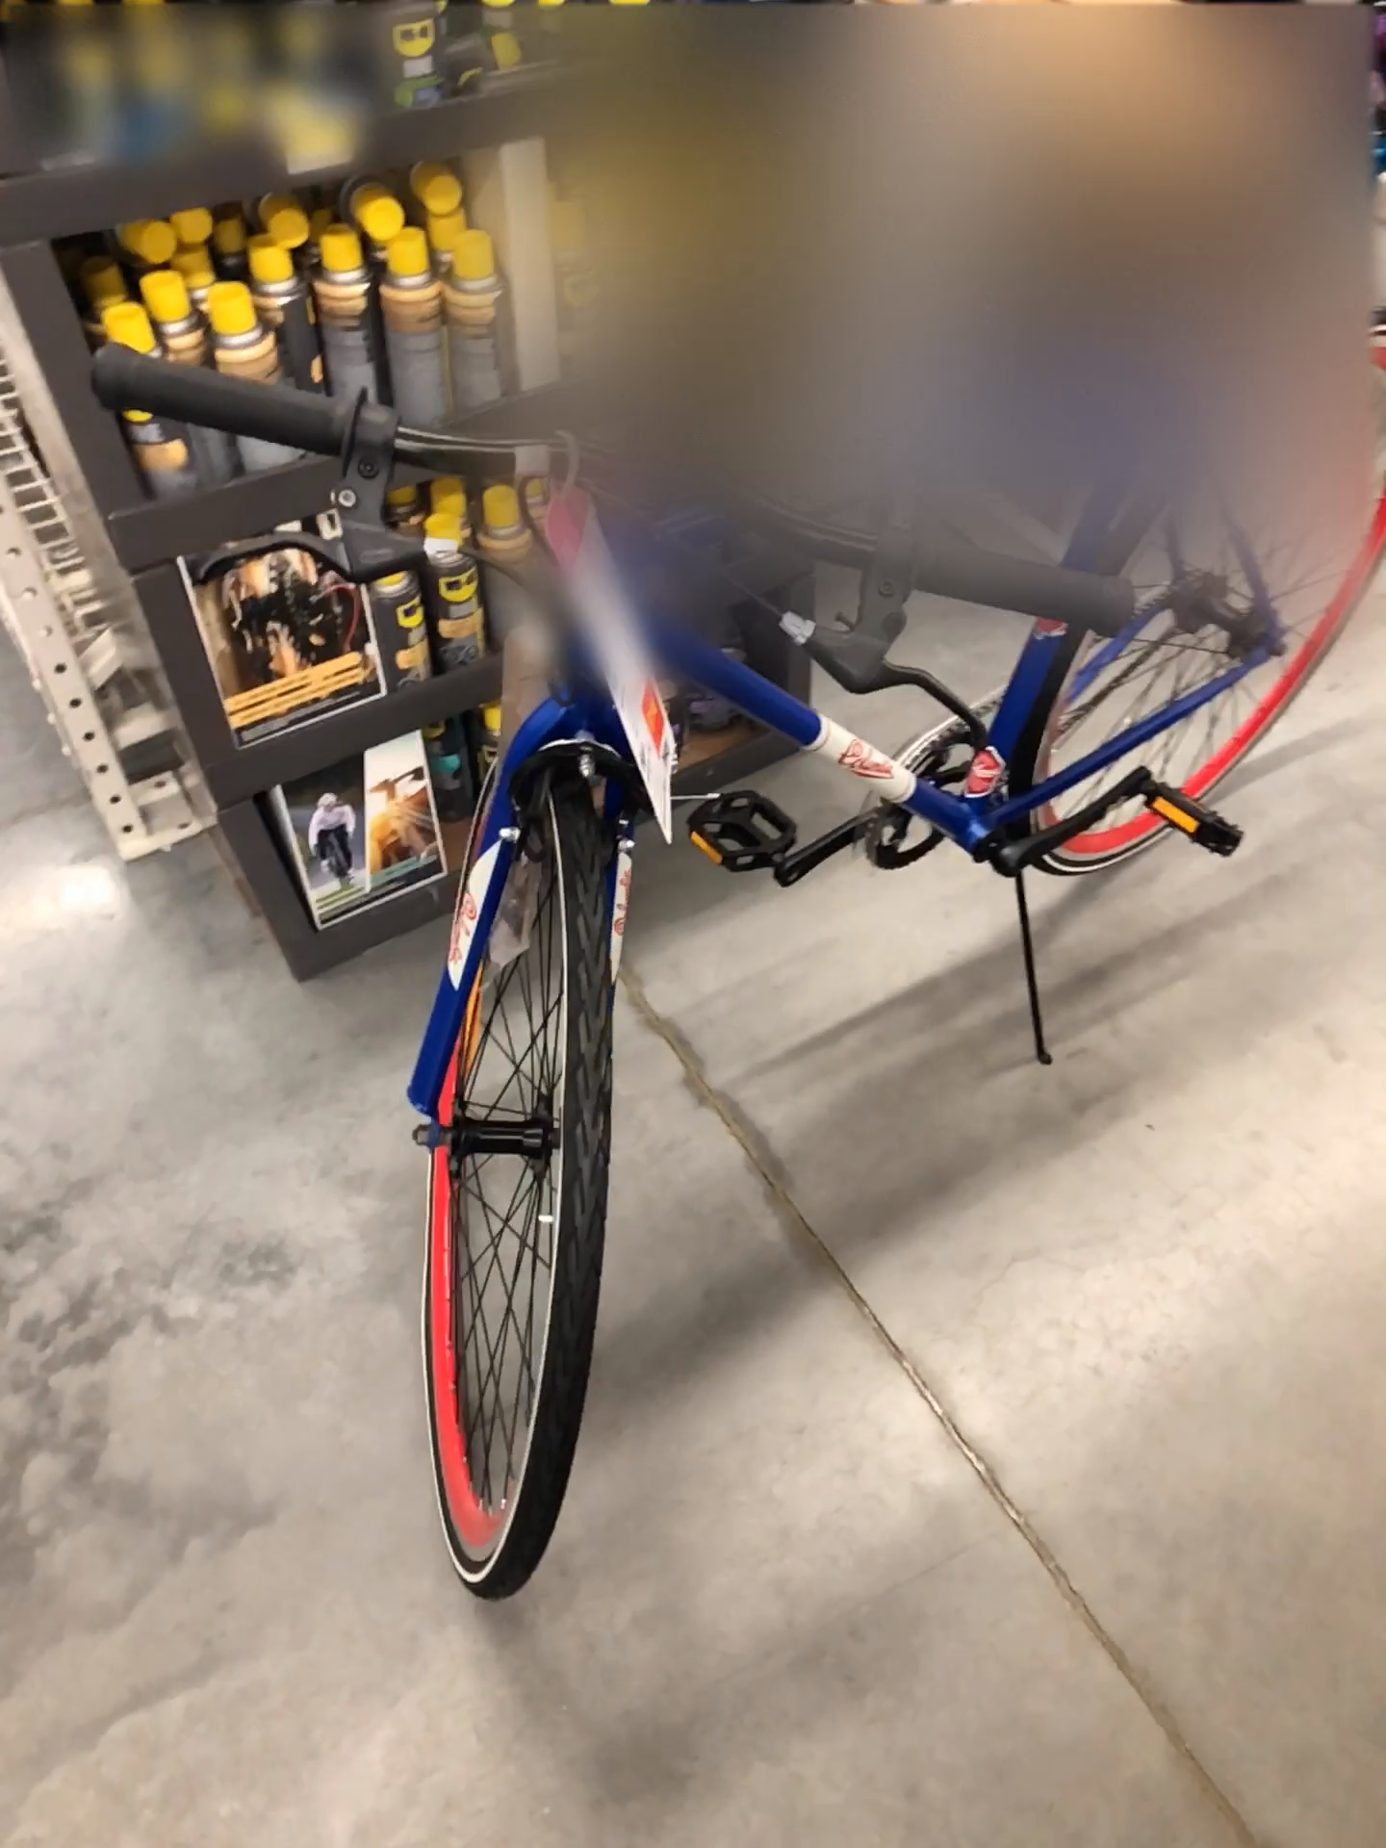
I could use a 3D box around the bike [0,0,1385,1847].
[{"bbox_3d":[0.375,-0.190,1.219,0.603,0.938,1.495,32,52,25],"label":"bike"}]
